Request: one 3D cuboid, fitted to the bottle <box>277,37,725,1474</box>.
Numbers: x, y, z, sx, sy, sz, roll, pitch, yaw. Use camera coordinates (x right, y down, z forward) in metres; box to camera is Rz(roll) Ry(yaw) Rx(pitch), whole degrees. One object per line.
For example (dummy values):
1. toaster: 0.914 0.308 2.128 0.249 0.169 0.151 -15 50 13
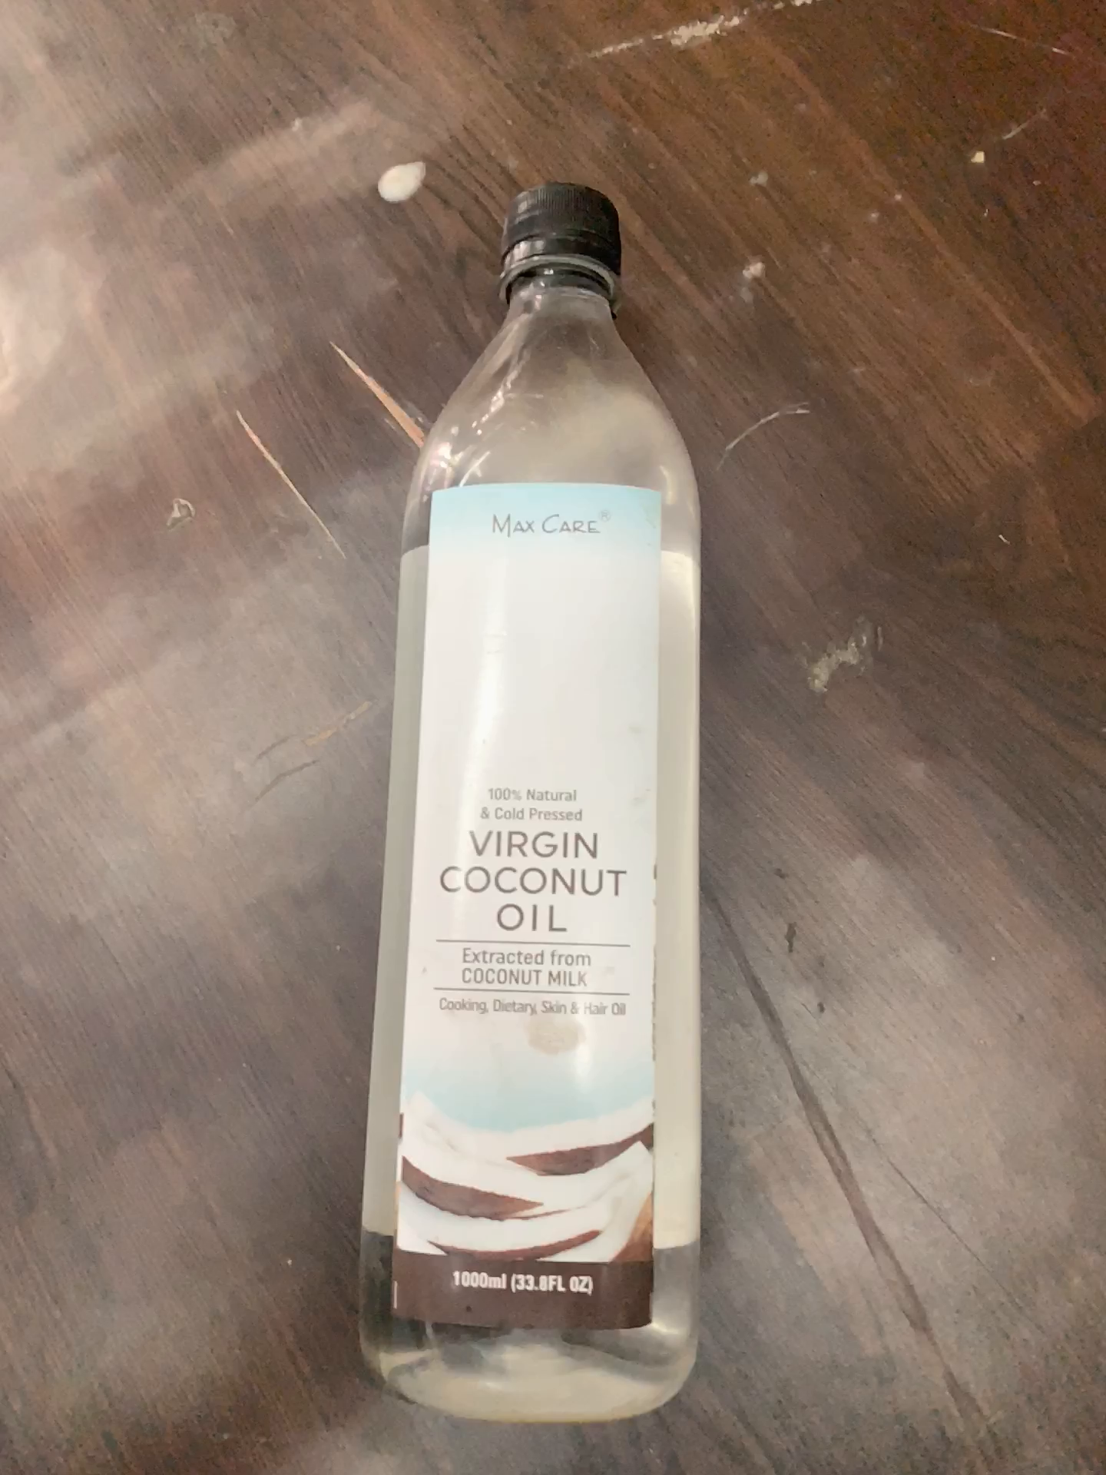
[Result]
1. bottle: -0.004 -0.007 0.263 0.080 0.070 0.290 1 80 3
